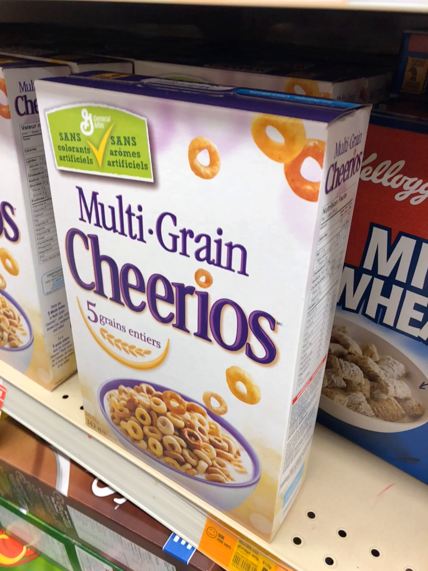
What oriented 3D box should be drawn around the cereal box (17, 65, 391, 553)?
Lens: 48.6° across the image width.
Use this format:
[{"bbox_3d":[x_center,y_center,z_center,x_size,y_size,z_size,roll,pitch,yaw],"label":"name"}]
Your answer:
[{"bbox_3d":[-0.020,0.015,0.319,0.201,0.278,0.060,21,35,29],"label":"cereal box"}]
